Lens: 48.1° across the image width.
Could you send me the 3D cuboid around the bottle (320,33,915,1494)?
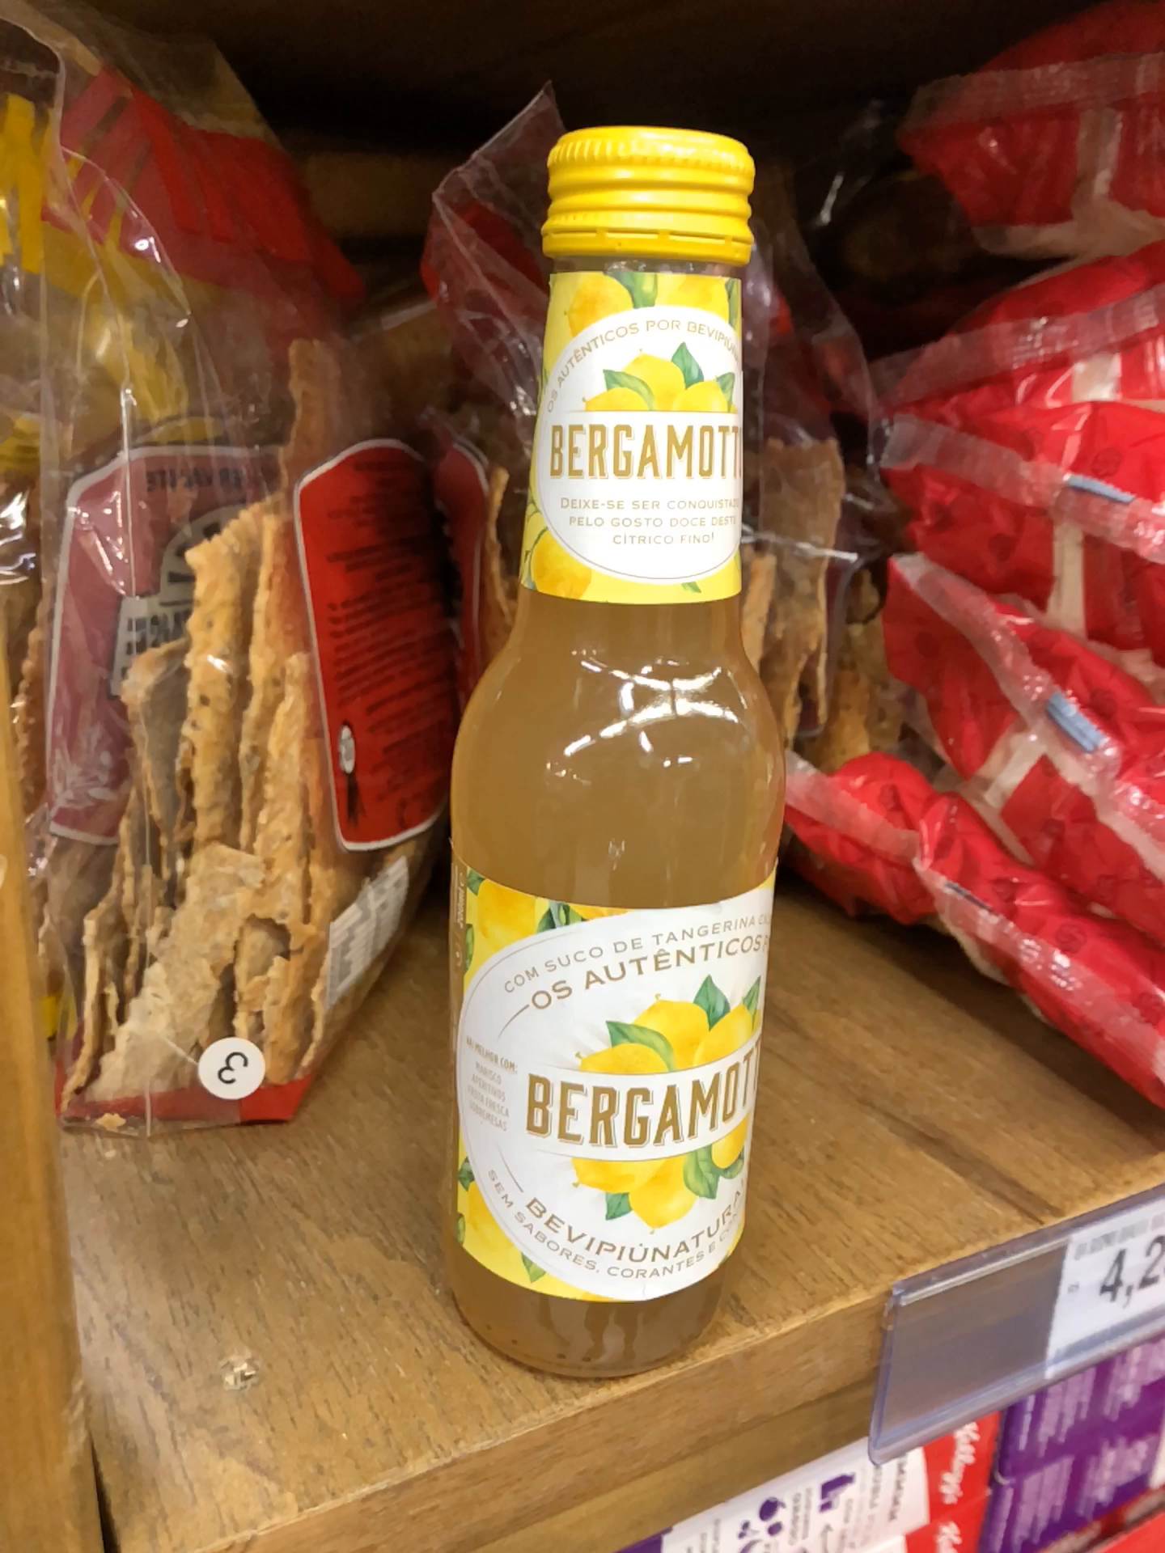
[{"bbox_3d":[-0.003,0.002,0.210,0.060,0.199,0.060,3,17,-1],"label":"bottle"}]
